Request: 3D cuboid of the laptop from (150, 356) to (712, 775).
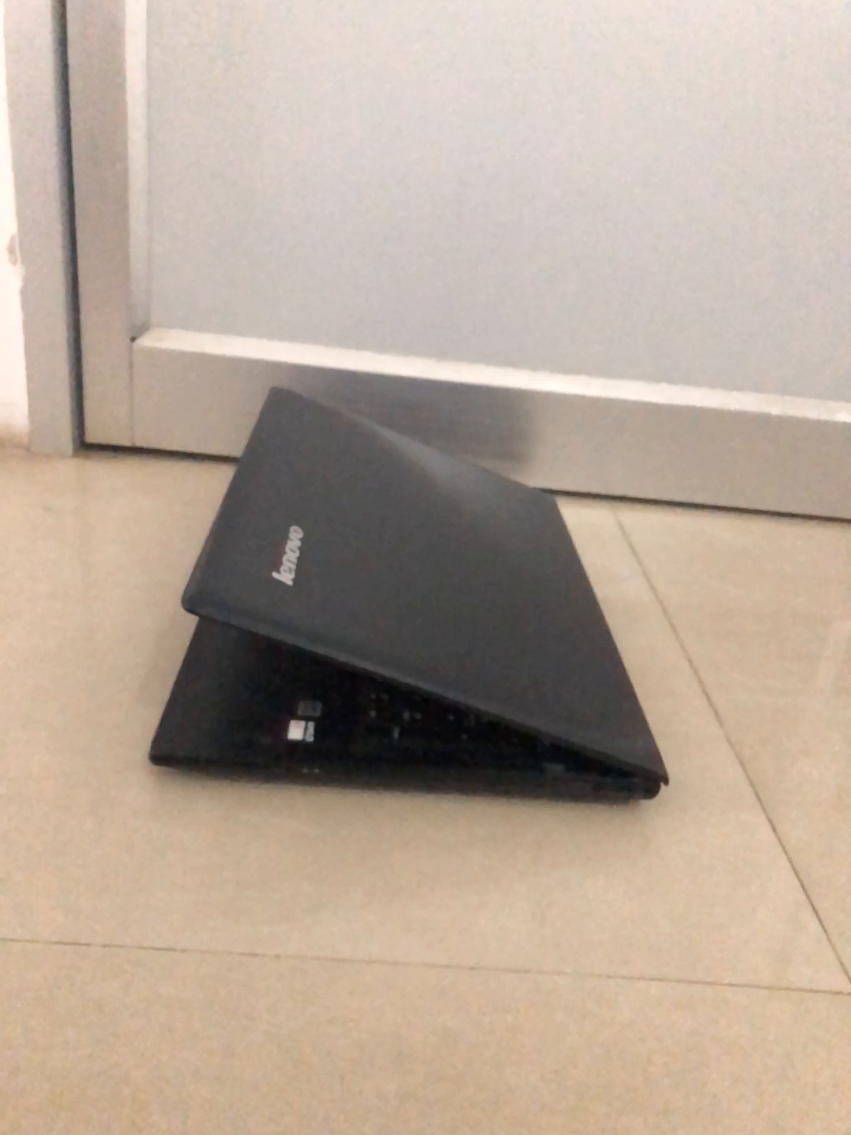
[{"bbox_3d":[-0.005,-0.030,0.615,0.257,0.097,0.369,5,26,-6],"label":"laptop"}]
